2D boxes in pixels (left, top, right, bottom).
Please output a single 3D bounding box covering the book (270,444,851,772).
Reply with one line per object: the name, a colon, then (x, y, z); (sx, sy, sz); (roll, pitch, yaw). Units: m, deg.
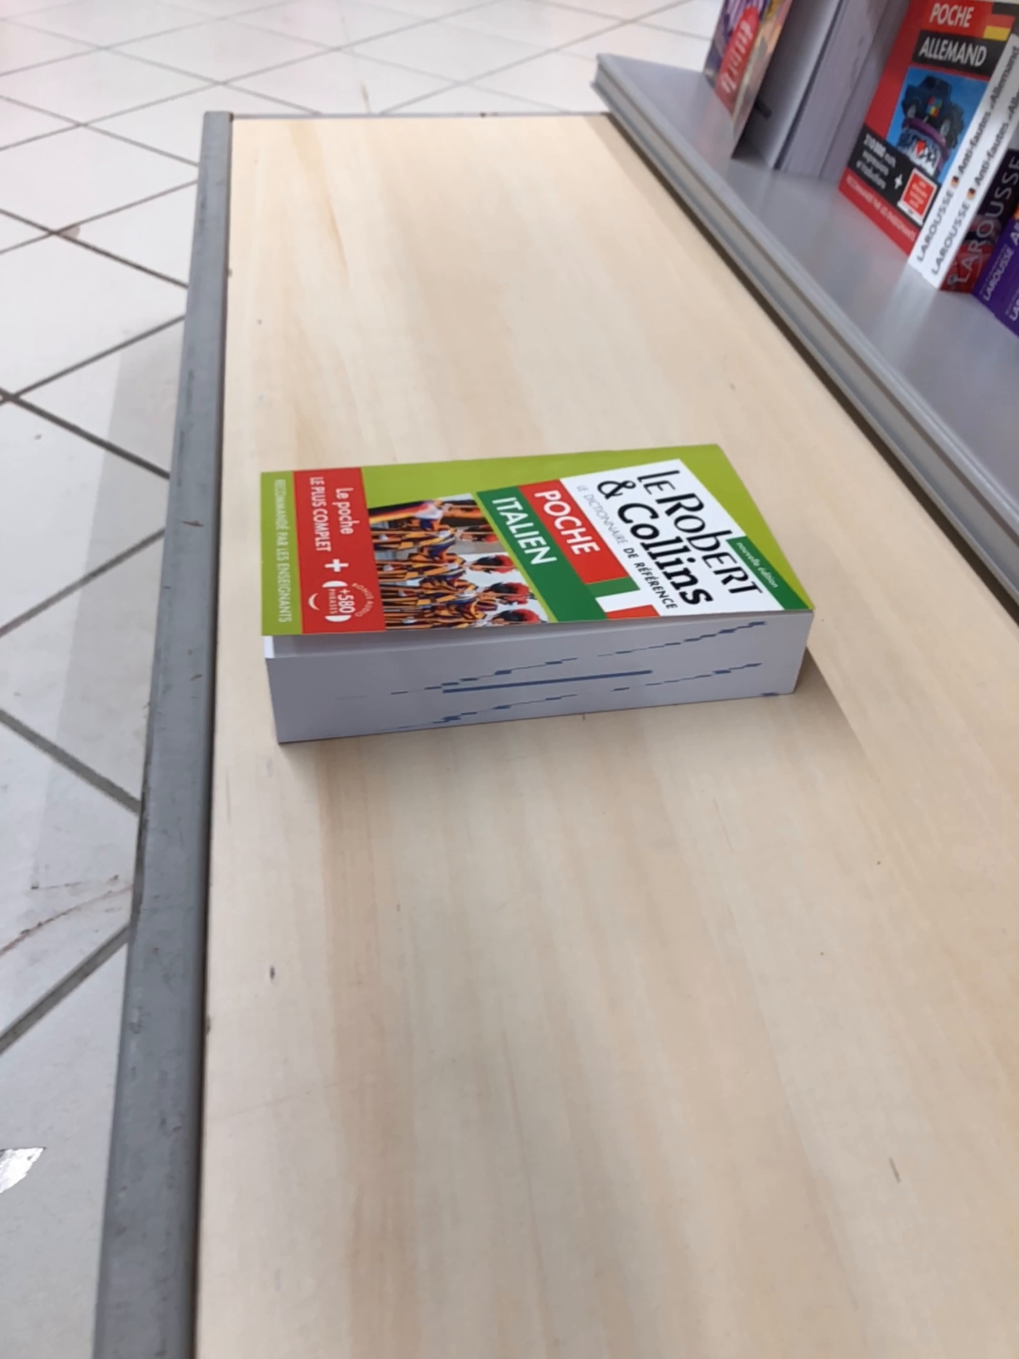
book: (0.009, -0.030, 0.388); (0.175, 0.040, 0.111); (-5, 43, -9)
